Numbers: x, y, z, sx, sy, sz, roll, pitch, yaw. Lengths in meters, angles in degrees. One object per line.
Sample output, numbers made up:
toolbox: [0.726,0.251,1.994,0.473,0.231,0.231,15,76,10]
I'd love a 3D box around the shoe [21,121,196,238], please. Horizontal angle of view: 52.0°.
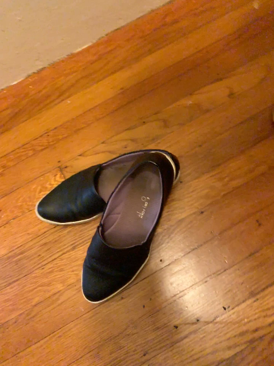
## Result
shoe: [-0.046,-0.001,0.476,0.260,0.080,0.100,-18,70,1]

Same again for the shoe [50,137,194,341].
shoe: [-0.020,0.074,0.407,0.100,0.080,0.250,25,98,15]
